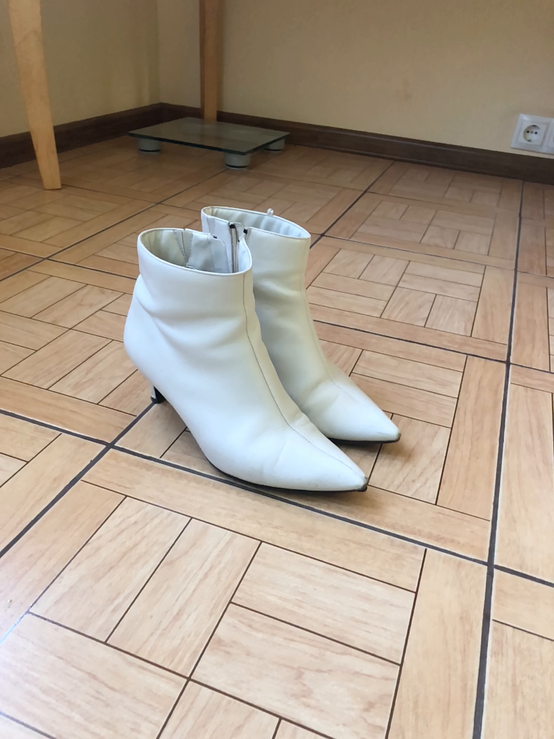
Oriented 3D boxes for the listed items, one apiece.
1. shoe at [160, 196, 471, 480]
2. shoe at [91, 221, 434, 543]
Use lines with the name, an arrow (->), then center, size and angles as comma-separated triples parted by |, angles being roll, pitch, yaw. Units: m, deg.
shoe -> 0.016, -0.046, 0.576 | 0.274, 0.154, 0.100 | 29, 38, 34
shoe -> -0.025, -0.005, 0.503 | 0.254, 0.154, 0.100 | 25, 36, 30
